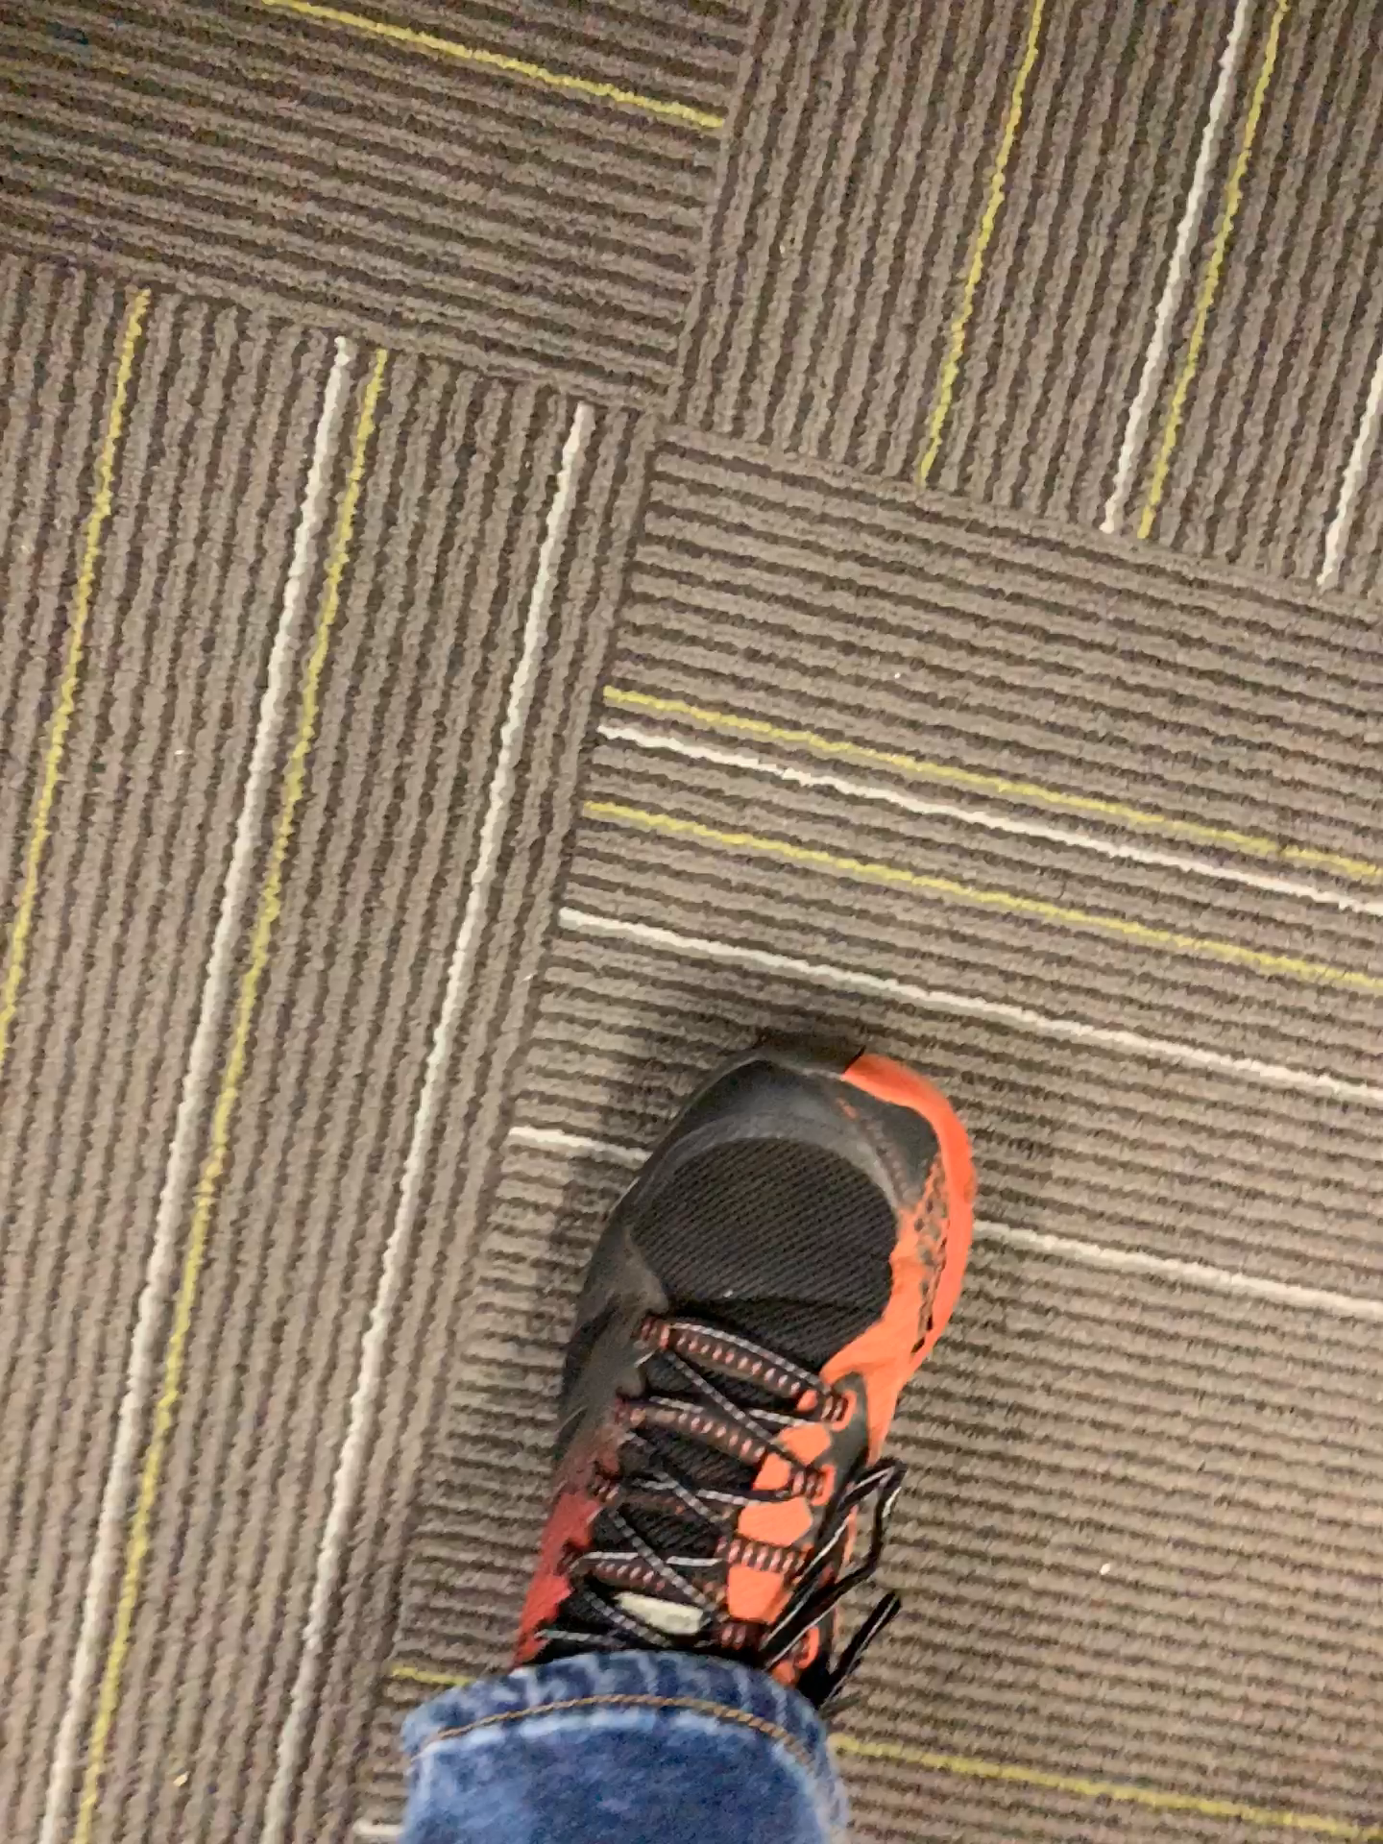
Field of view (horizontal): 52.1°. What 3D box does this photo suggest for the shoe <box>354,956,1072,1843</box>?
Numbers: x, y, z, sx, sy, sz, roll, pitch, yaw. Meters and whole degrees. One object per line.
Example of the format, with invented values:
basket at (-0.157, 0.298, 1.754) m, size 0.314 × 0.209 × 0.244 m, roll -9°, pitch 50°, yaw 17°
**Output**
shoe at (0.009, 0.177, 0.432) m, size 0.132 × 0.090 × 0.305 m, roll 15°, pitch 97°, yaw 14°
